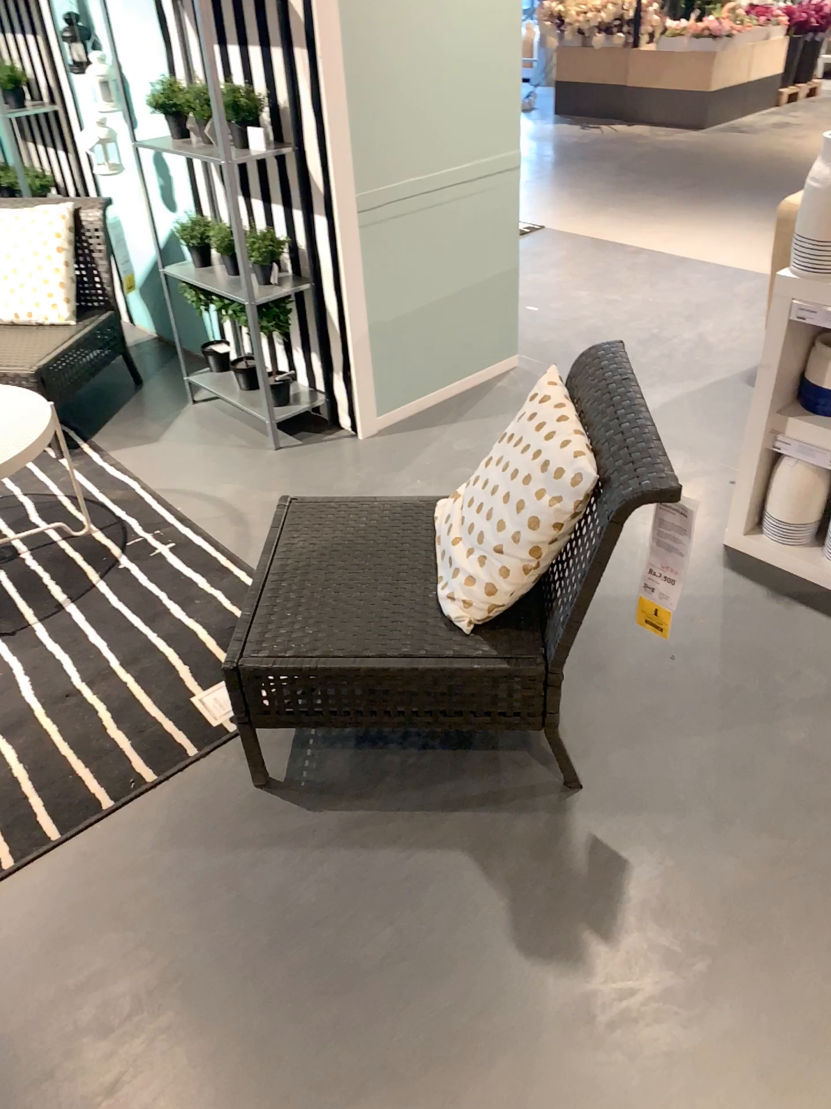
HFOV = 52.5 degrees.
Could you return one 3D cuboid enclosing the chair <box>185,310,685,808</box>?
[{"bbox_3d":[0.065,-0.005,1.825,0.780,0.797,0.703,0,35,5],"label":"chair"}]
